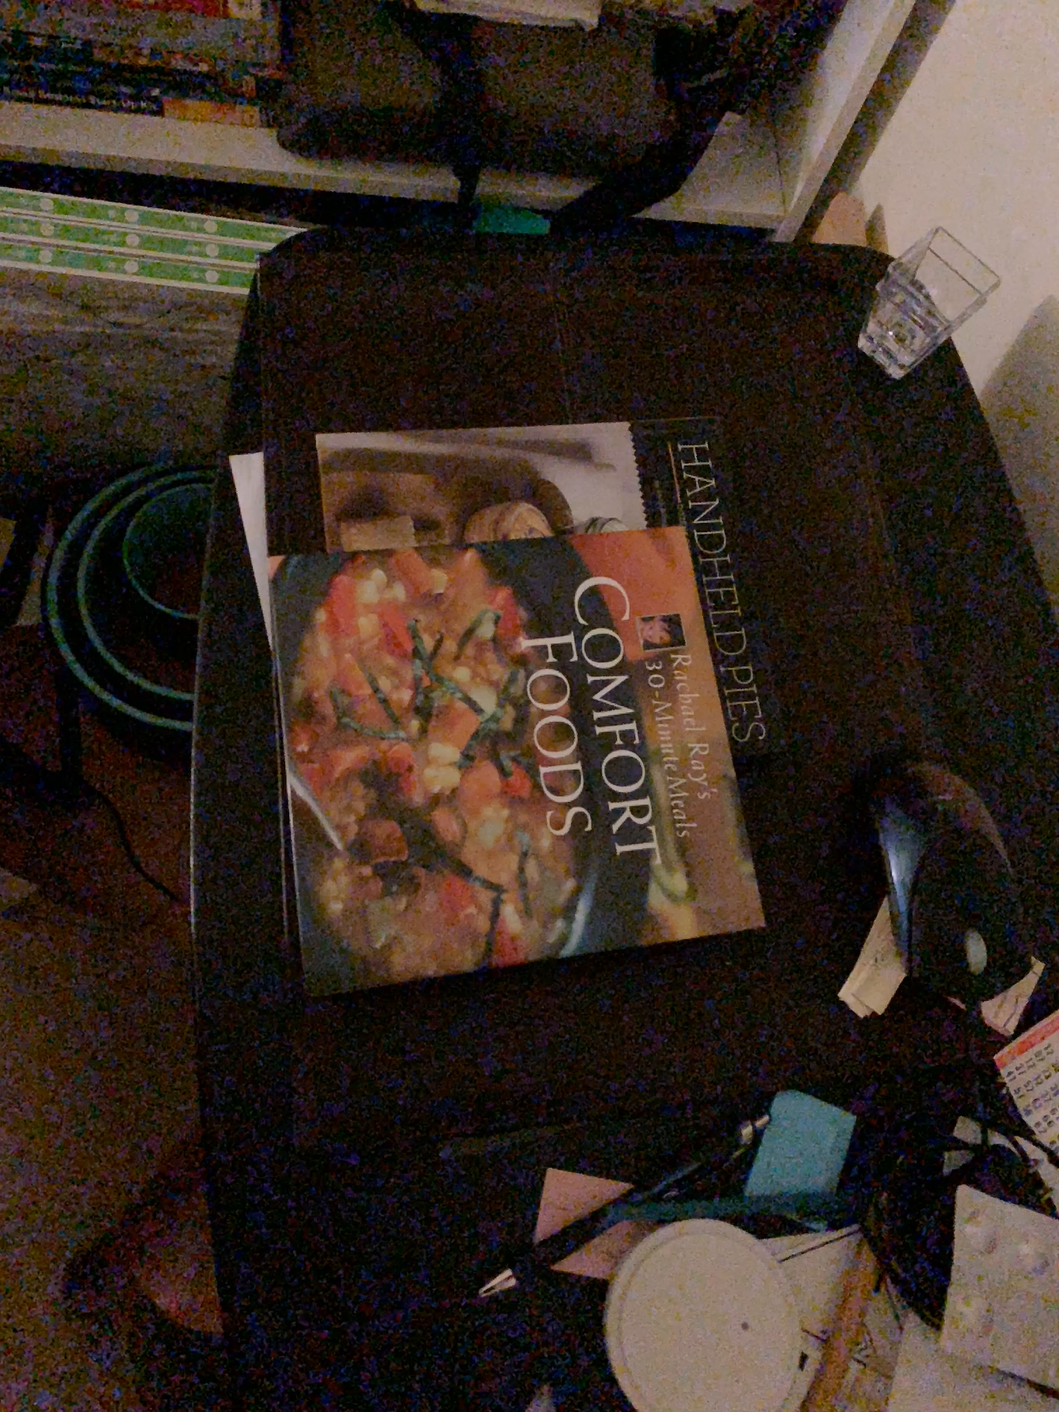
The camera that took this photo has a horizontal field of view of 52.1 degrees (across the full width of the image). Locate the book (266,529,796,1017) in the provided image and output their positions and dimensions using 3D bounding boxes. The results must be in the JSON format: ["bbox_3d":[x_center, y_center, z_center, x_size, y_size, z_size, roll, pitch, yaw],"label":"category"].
[{"bbox_3d":[-0.003,0.021,0.488,0.210,0.020,0.200,-6,73,-11],"label":"book"}]

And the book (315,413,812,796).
[{"bbox_3d":[0.013,-0.057,0.534,0.220,0.020,0.180,-5,73,-10],"label":"book"}]
